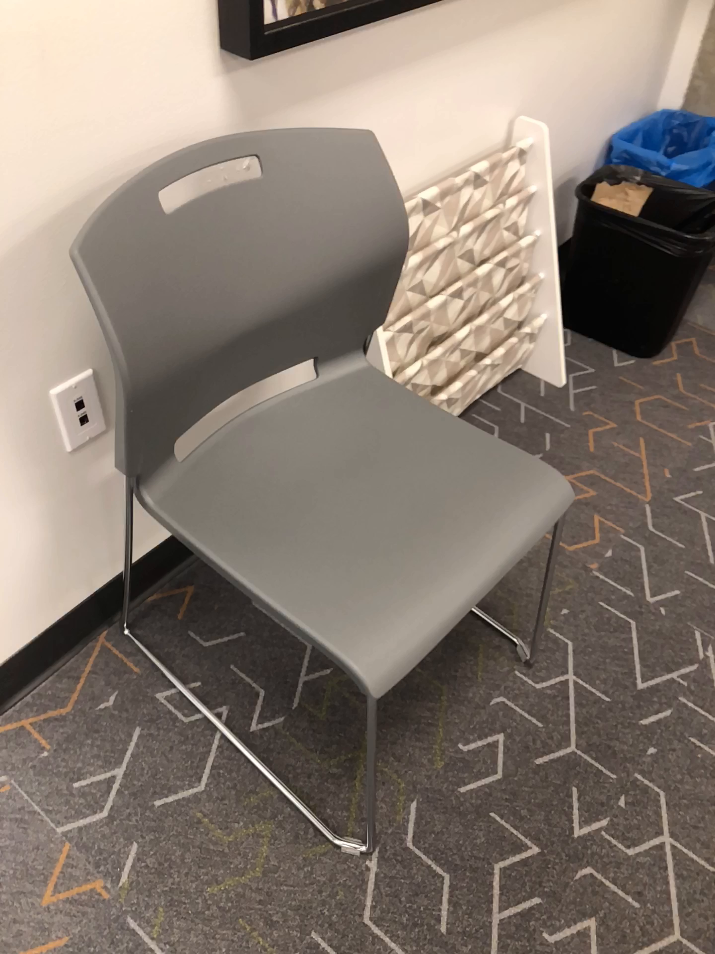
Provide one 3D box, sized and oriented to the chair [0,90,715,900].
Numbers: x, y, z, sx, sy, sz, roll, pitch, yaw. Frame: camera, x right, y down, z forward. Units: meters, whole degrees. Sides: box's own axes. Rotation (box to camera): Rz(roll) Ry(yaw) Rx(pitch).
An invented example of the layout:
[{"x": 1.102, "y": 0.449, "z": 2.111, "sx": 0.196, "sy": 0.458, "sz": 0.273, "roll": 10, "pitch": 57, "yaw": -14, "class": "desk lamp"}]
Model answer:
[{"x": -0.033, "y": 0.000, "z": 1.113, "sx": 0.672, "sy": 0.735, "sz": 0.582, "roll": 33, "pitch": 52, "yaw": 26, "class": "chair"}]
